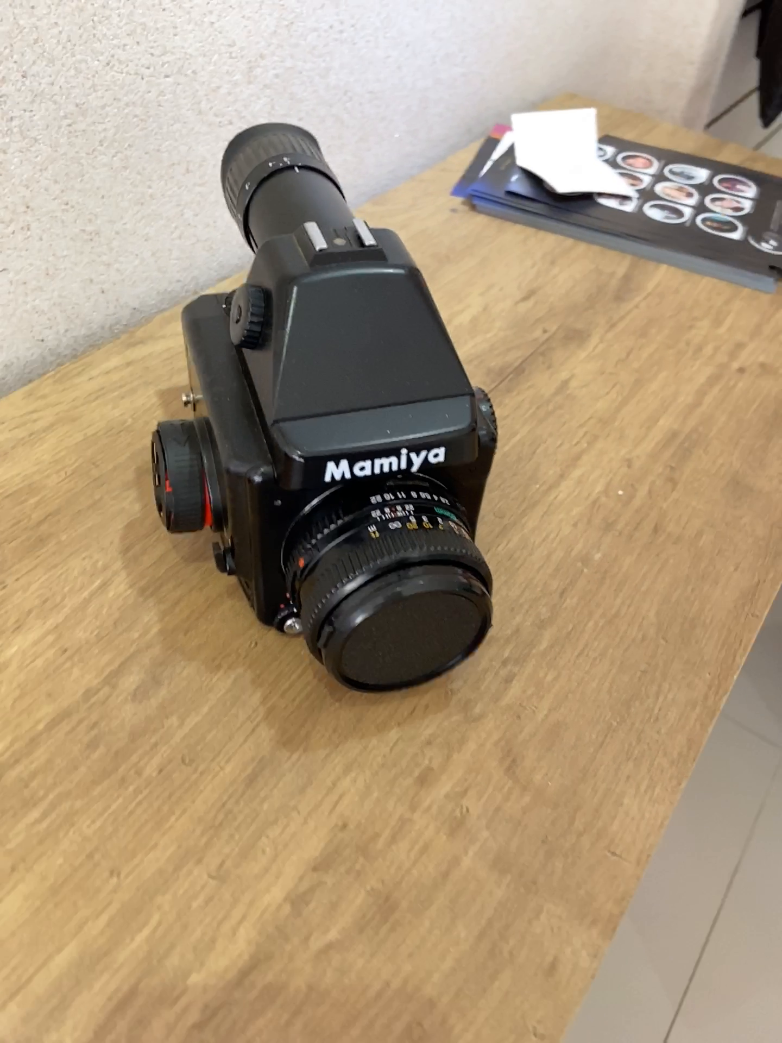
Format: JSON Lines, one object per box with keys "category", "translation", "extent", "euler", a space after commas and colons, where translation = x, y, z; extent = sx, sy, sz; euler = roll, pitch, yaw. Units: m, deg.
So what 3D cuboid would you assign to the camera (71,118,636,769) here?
{"category": "camera", "translation": [-0.034, -0.049, 0.304], "extent": [0.120, 0.109, 0.221], "euler": [-13, 49, -17]}
